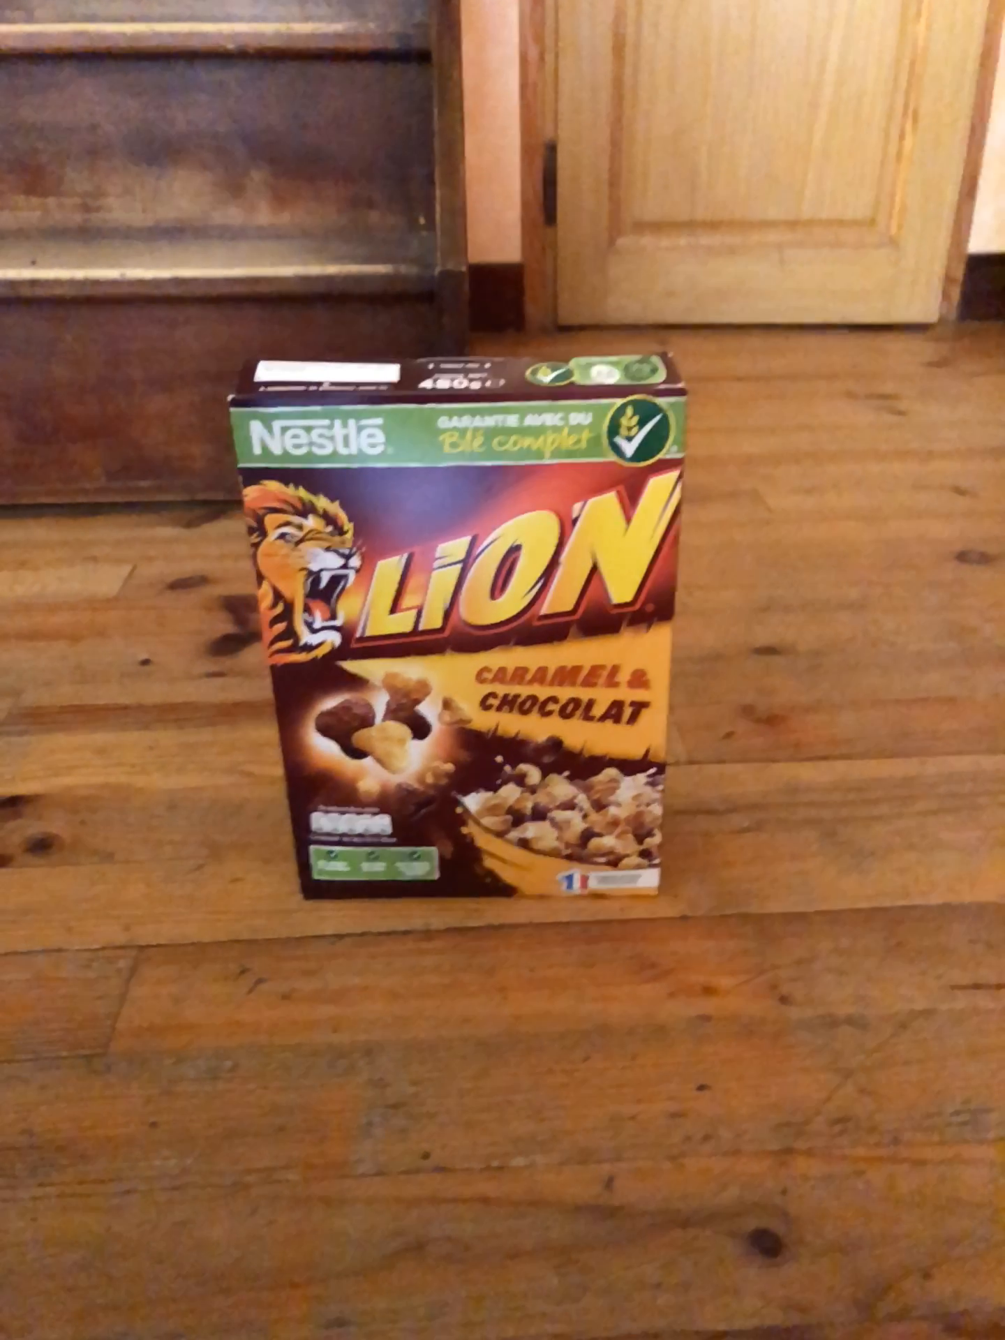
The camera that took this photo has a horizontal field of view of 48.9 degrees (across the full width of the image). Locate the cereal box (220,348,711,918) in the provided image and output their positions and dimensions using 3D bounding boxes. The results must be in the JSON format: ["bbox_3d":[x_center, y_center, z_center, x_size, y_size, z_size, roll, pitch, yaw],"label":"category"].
[{"bbox_3d":[-0.013,-0.008,0.542,0.200,0.278,0.060,-1,28,1],"label":"cereal box"}]
